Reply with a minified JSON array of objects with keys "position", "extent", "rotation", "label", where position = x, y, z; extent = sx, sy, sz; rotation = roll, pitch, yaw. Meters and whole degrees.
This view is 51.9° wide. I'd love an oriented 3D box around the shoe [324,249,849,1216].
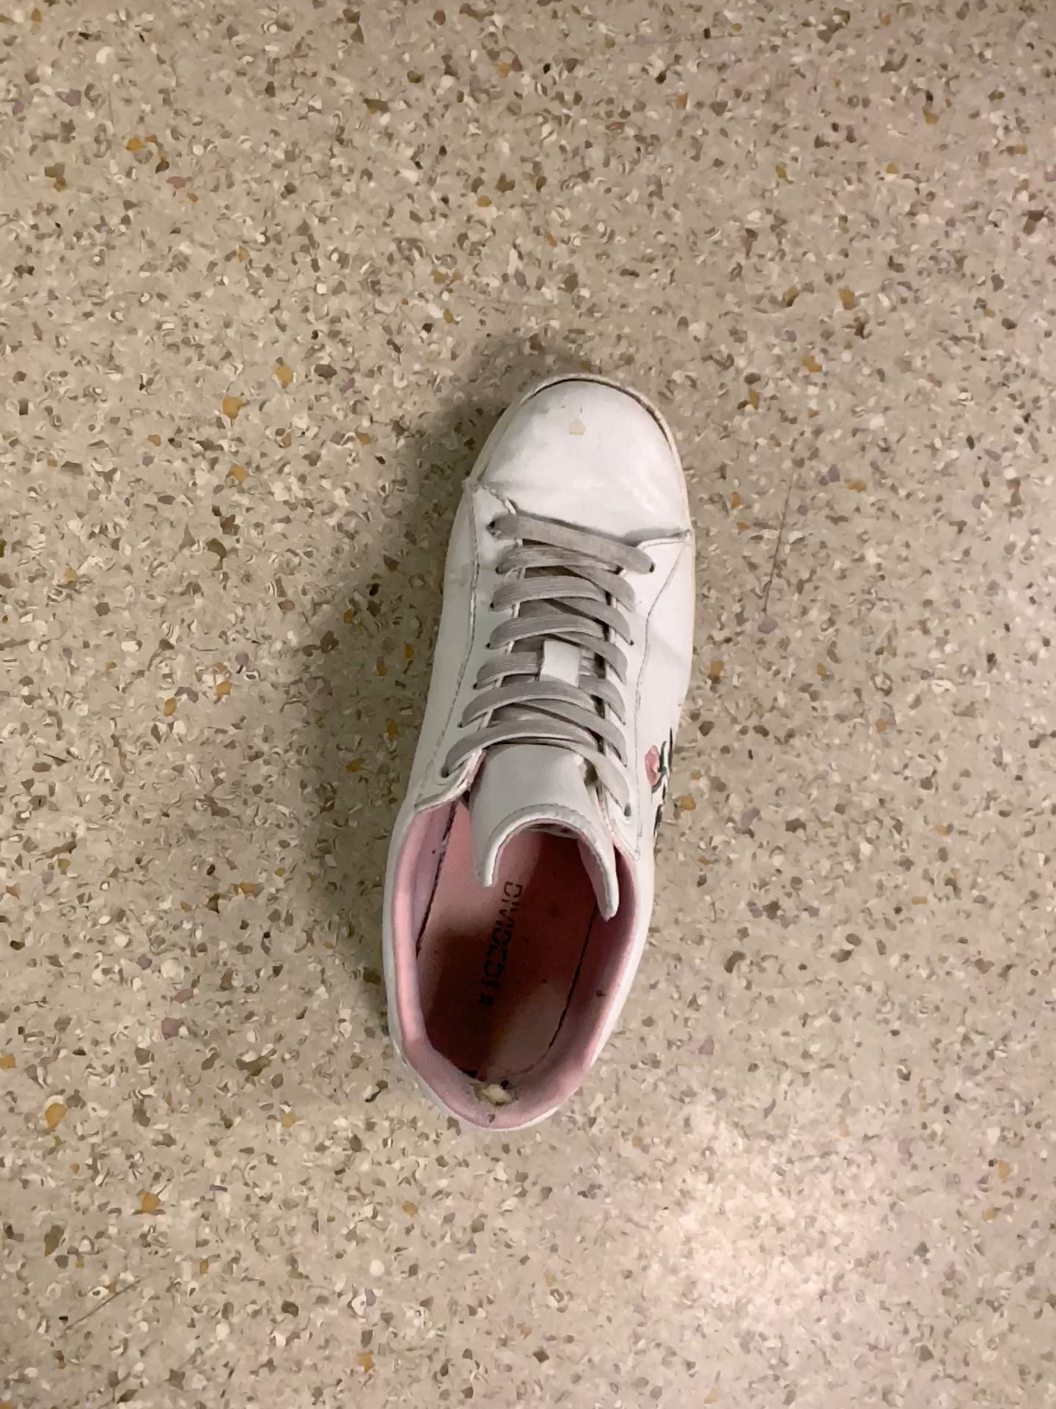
[{"position":[0.012,0.009,0.348],"extent":[0.098,0.093,0.255],"rotation":[13,87,-9],"label":"shoe"}]
